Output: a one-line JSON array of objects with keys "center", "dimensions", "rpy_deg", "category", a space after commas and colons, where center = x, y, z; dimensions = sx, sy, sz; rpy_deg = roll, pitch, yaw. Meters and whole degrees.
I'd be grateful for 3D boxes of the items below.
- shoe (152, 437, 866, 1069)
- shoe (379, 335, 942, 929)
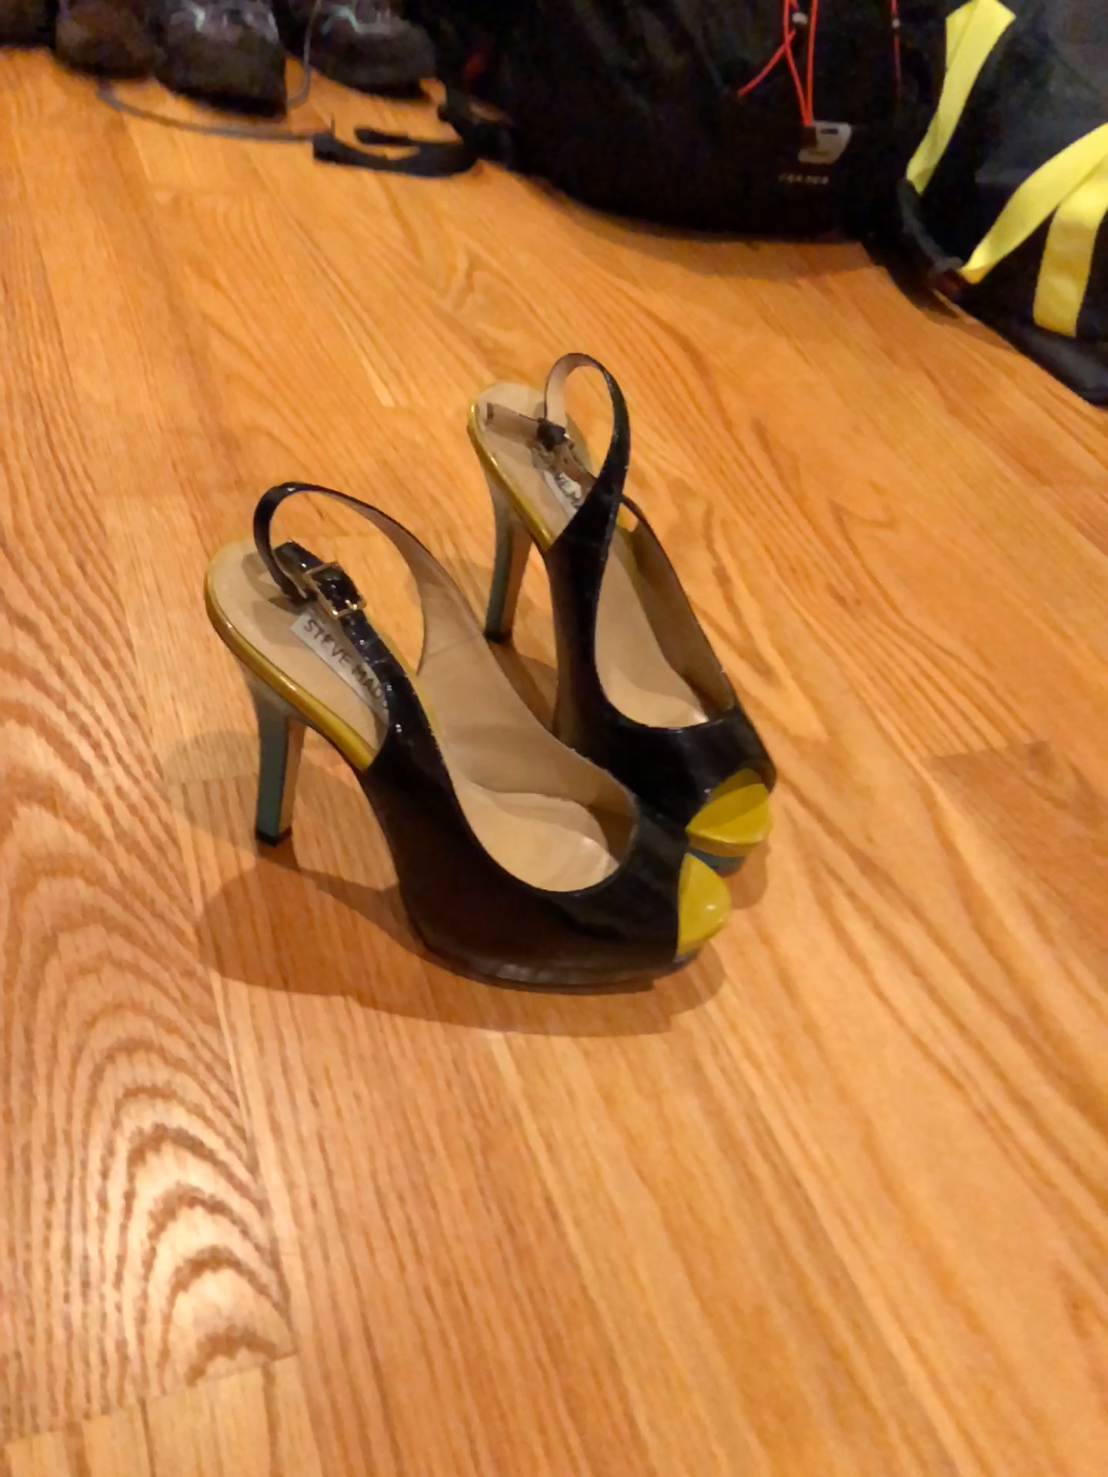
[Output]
[{"center": [-0.019, 0.007, 0.407], "dimensions": [0.201, 0.131, 0.086], "rpy_deg": [18, 41, 2], "category": "shoe"}, {"center": [0.027, -0.051, 0.484], "dimensions": [0.085, 0.121, 0.205], "rpy_deg": [-19, 52, -34], "category": "shoe"}]
